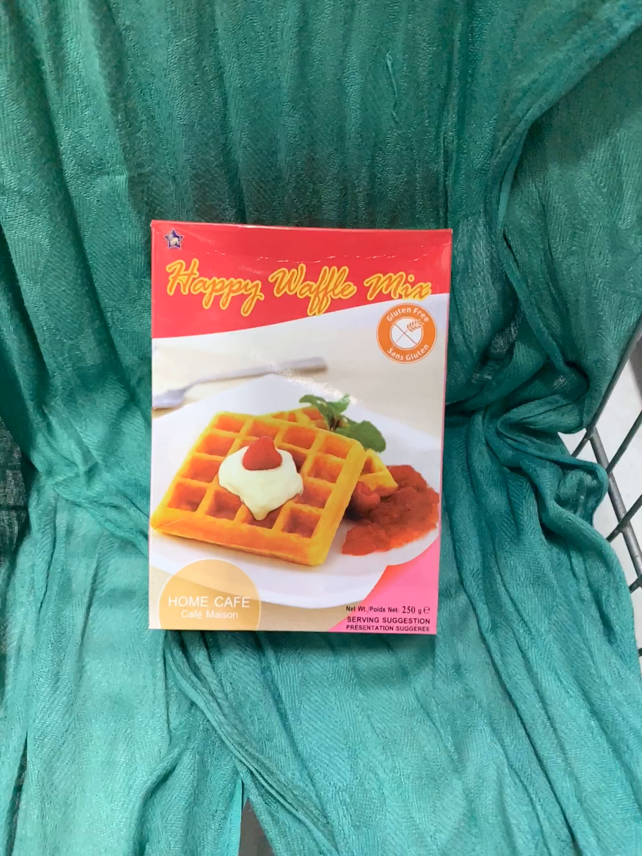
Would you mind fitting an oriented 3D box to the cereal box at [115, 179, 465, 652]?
[{"bbox_3d":[-0.014,-0.004,0.281,0.130,0.180,0.050,2,6,1],"label":"cereal box"}]
